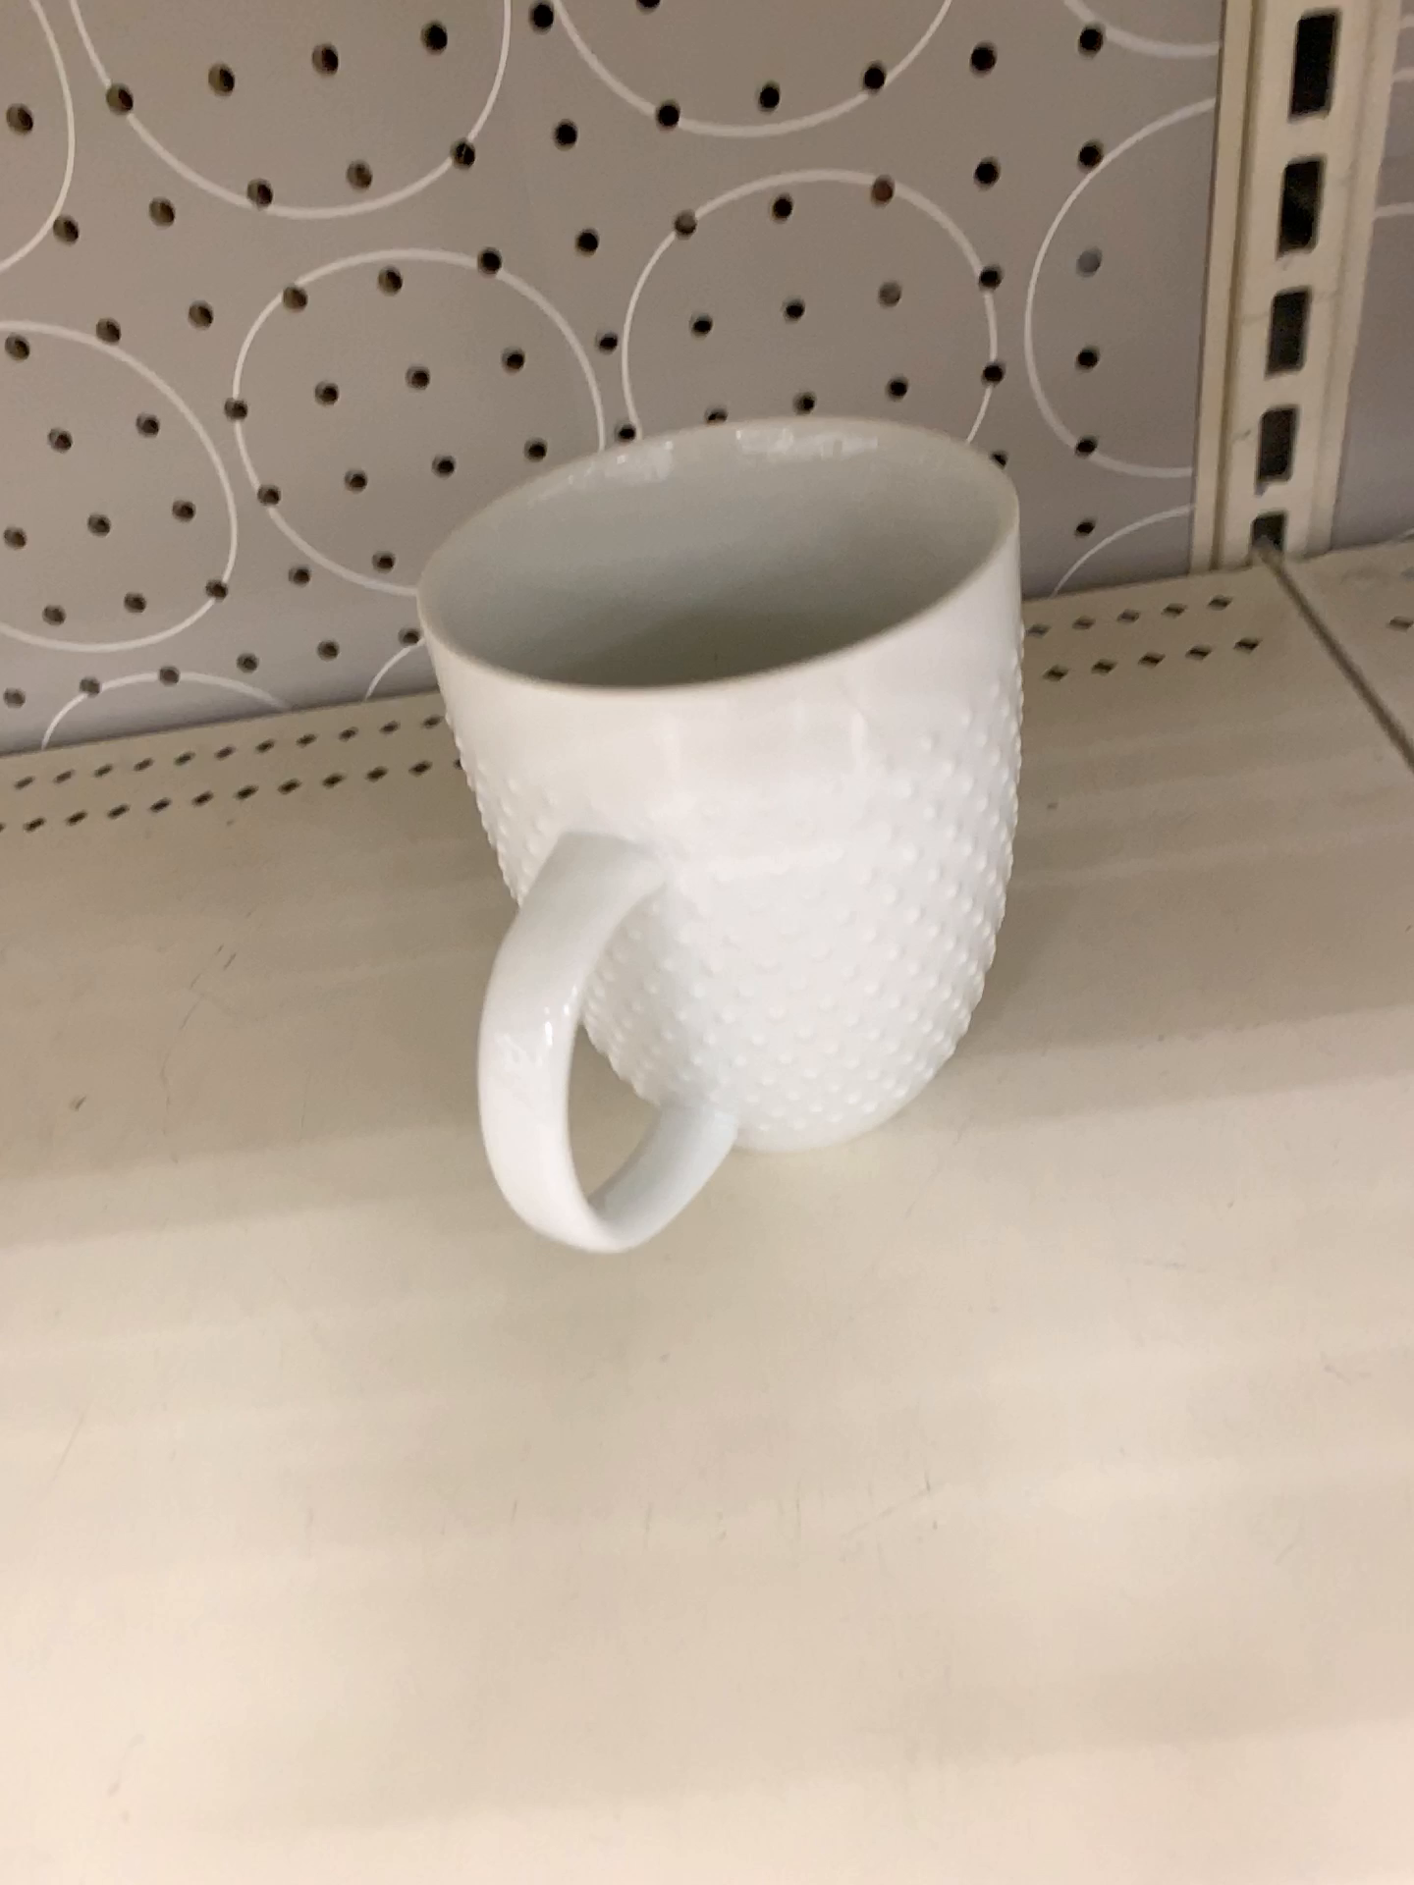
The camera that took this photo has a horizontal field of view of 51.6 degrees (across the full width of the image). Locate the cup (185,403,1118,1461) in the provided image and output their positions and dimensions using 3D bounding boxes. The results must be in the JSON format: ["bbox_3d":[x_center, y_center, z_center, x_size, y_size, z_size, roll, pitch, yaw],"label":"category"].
[{"bbox_3d":[0.009,-0.012,0.251,0.093,0.105,0.138,9,45,22],"label":"cup"}]
